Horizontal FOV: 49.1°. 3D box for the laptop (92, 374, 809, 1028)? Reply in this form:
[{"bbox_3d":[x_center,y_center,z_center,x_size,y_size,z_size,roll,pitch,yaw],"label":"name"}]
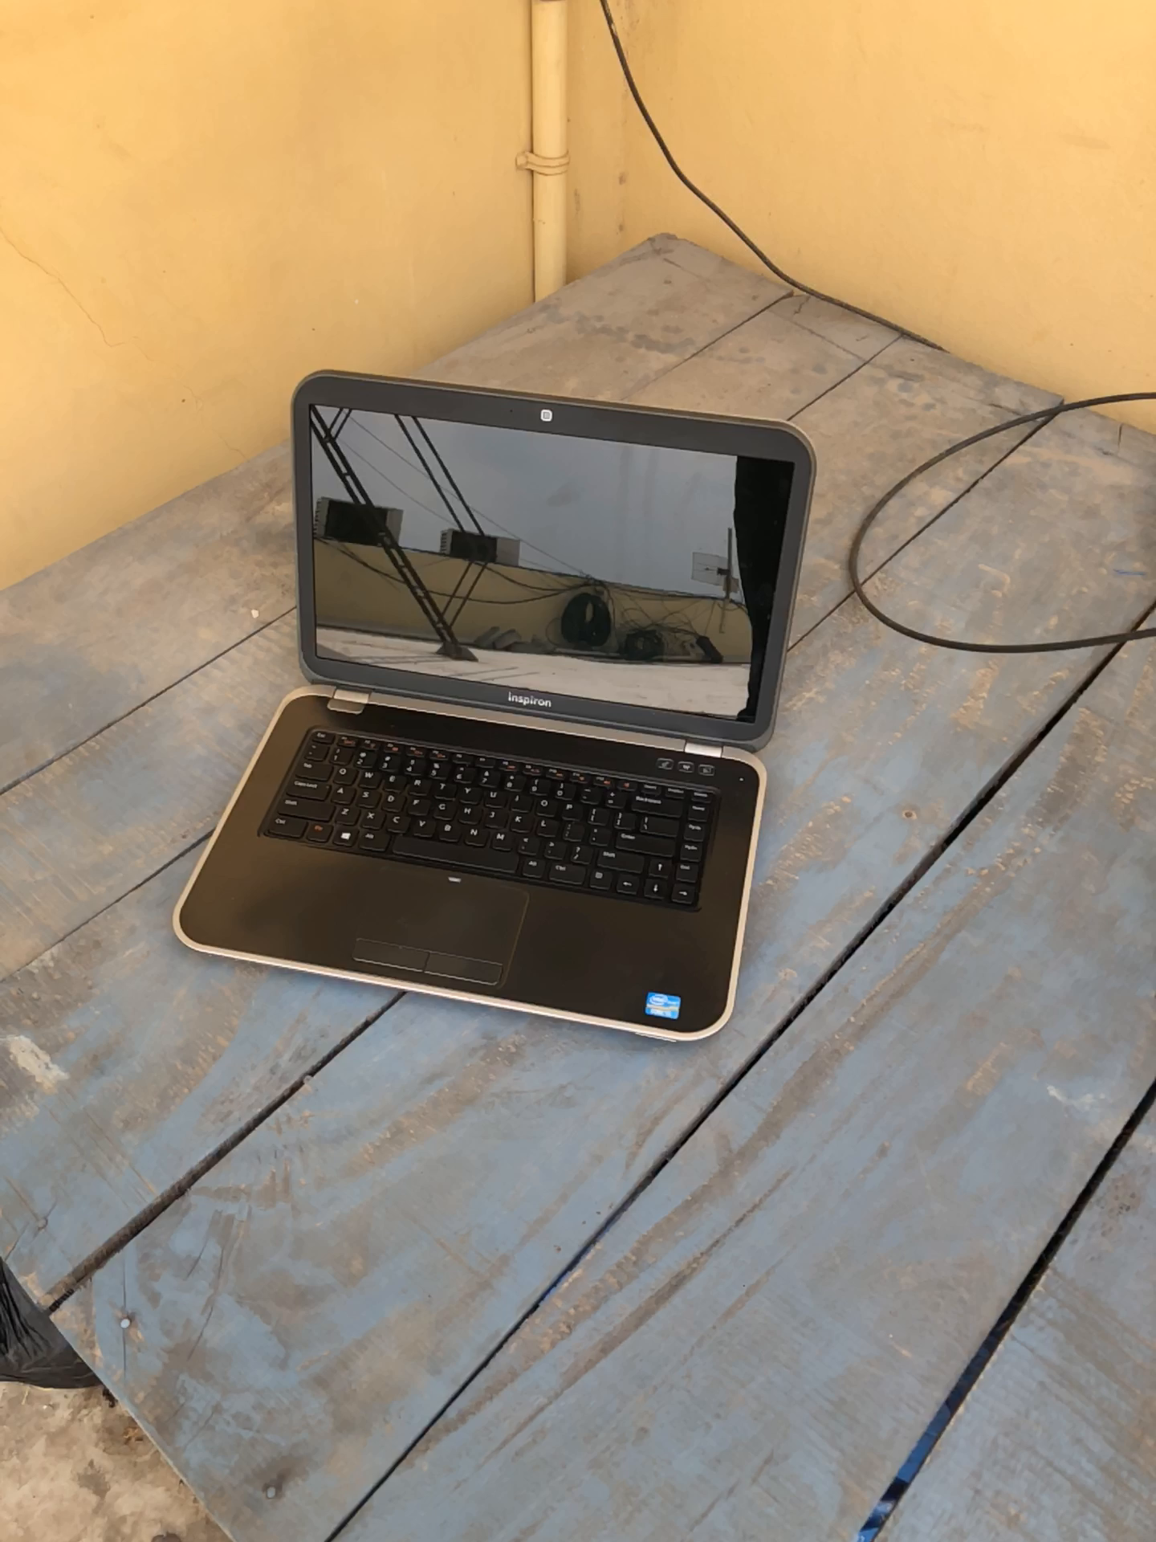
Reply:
[{"bbox_3d":[-0.054,-0.062,0.835,0.352,0.209,0.334,9,49,9],"label":"laptop"}]
